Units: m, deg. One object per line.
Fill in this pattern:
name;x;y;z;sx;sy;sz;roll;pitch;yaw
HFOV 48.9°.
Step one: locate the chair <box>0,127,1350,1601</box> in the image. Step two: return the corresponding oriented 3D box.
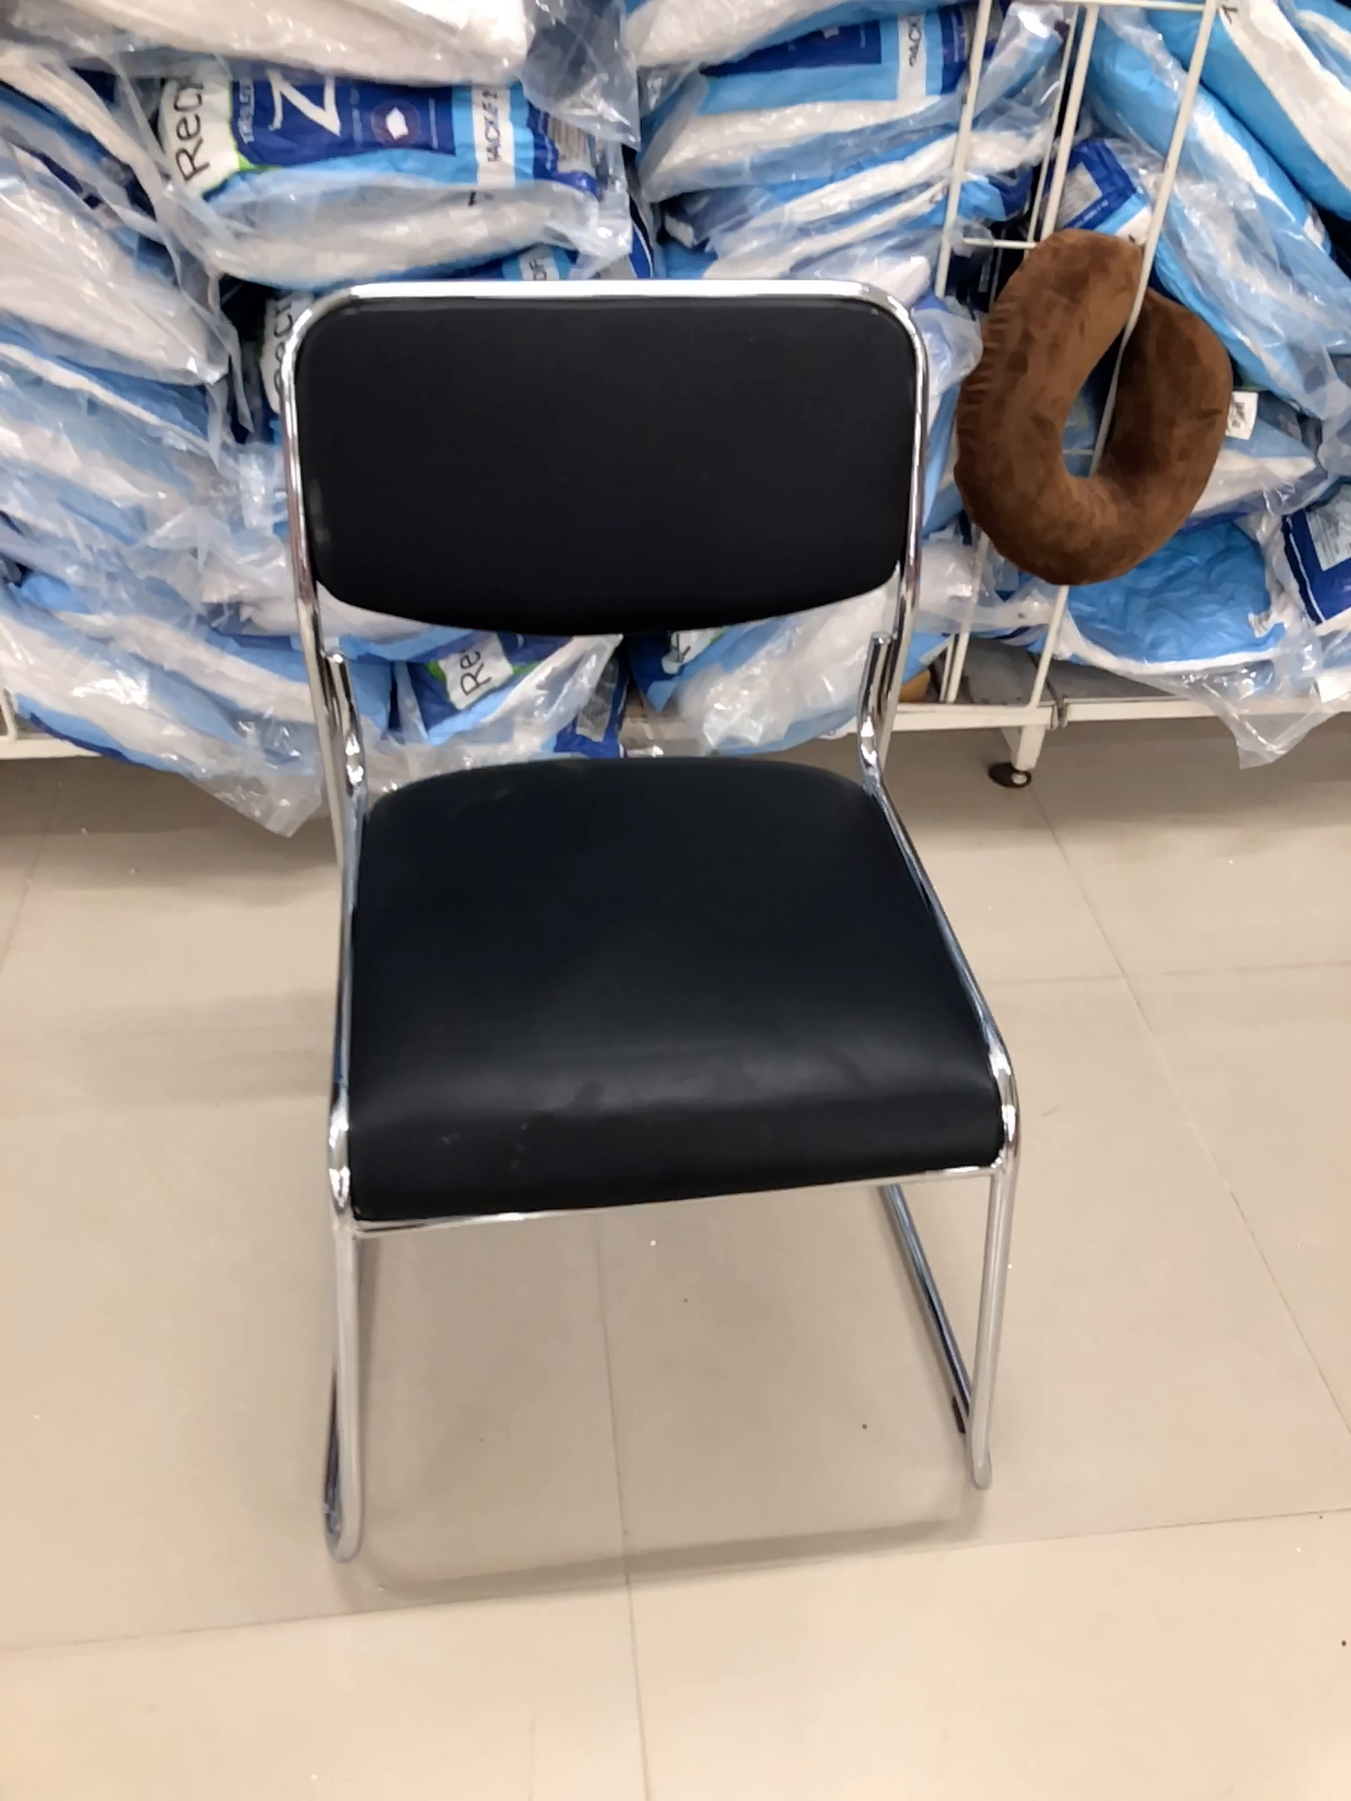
chair;0.000;-0.009;1.013;0.570;0.794;0.564;-1;40;-6
